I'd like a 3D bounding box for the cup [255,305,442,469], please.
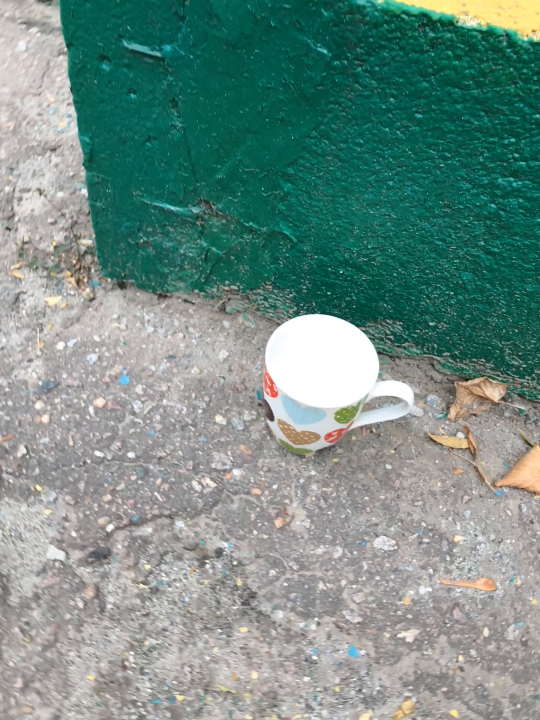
[{"bbox_3d":[0.053,0.022,0.448,0.116,0.079,0.082,6,54,-5],"label":"cup"}]
